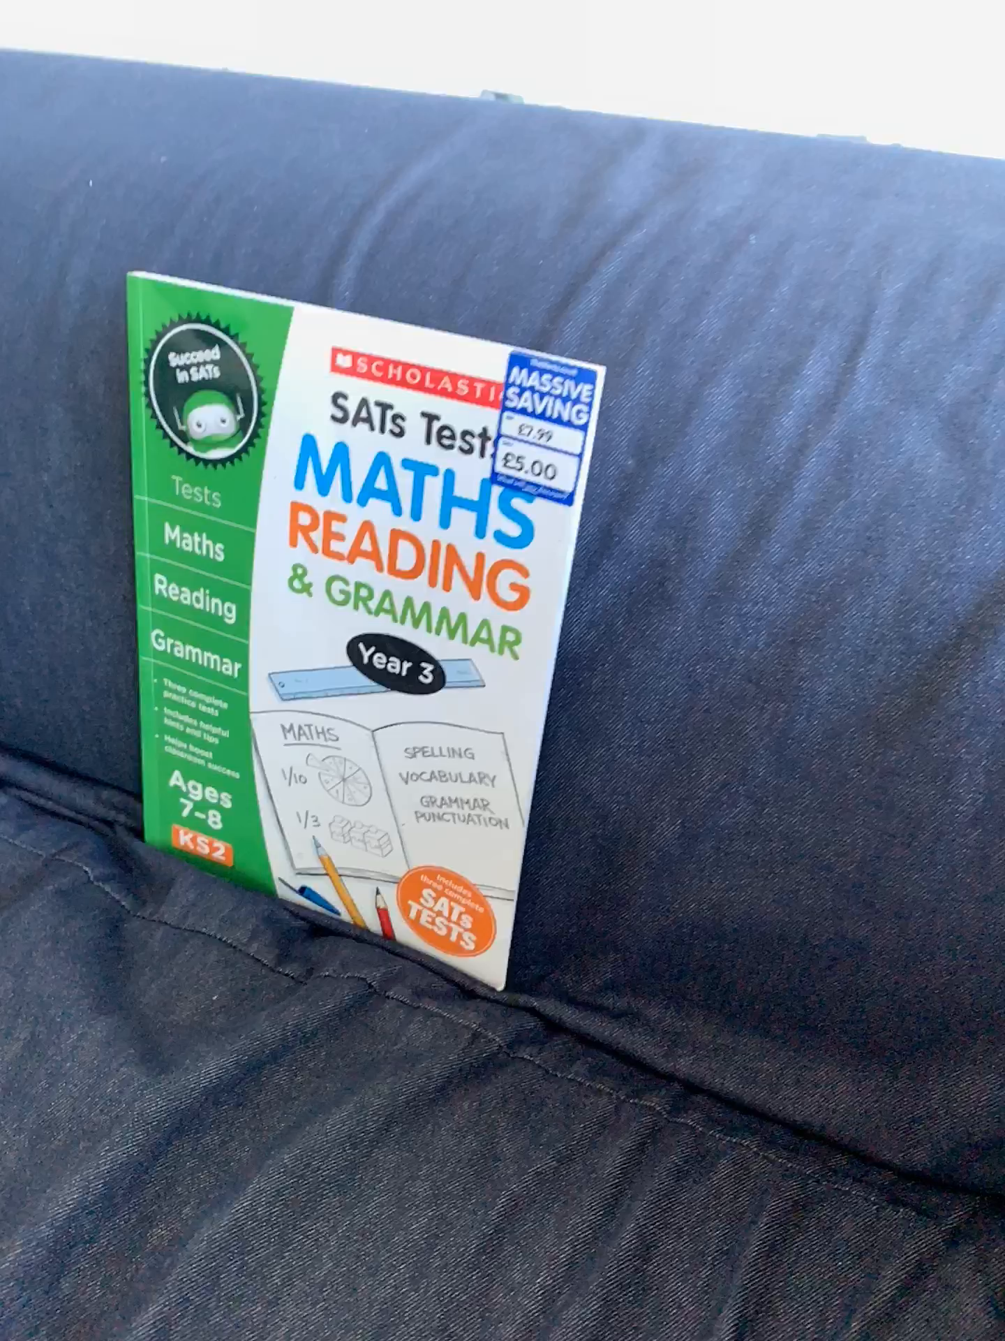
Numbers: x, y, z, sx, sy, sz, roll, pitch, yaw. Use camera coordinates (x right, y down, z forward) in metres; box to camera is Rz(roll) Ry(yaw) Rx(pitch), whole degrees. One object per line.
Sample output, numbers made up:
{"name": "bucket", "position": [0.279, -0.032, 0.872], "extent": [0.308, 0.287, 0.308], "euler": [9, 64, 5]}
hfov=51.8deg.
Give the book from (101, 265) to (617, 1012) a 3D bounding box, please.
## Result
{"name": "book", "position": [-0.074, -0.004, 0.452], "extent": [0.209, 0.293, 0.022], "euler": [17, 29, 18]}
